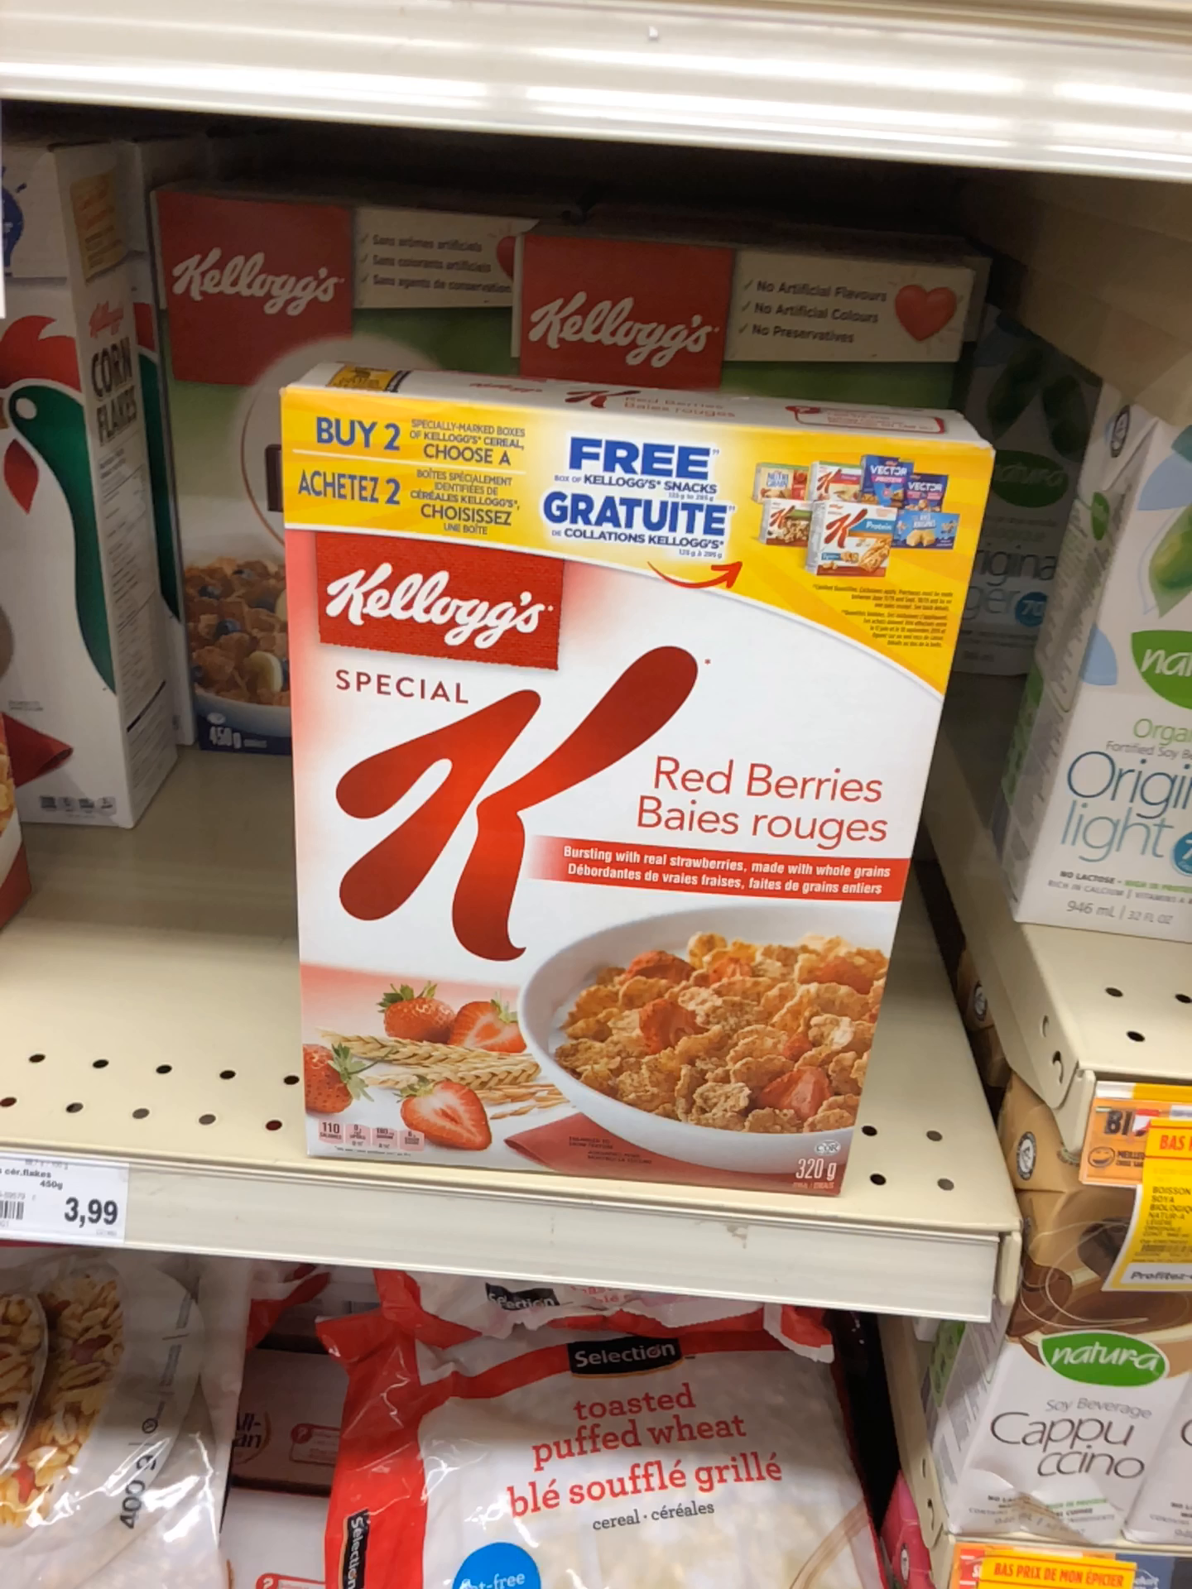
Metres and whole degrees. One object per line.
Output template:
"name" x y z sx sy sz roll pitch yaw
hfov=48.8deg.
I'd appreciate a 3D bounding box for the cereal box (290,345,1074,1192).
"cereal box" 0.014 0.004 0.399 0.190 0.248 0.050 4 29 0
